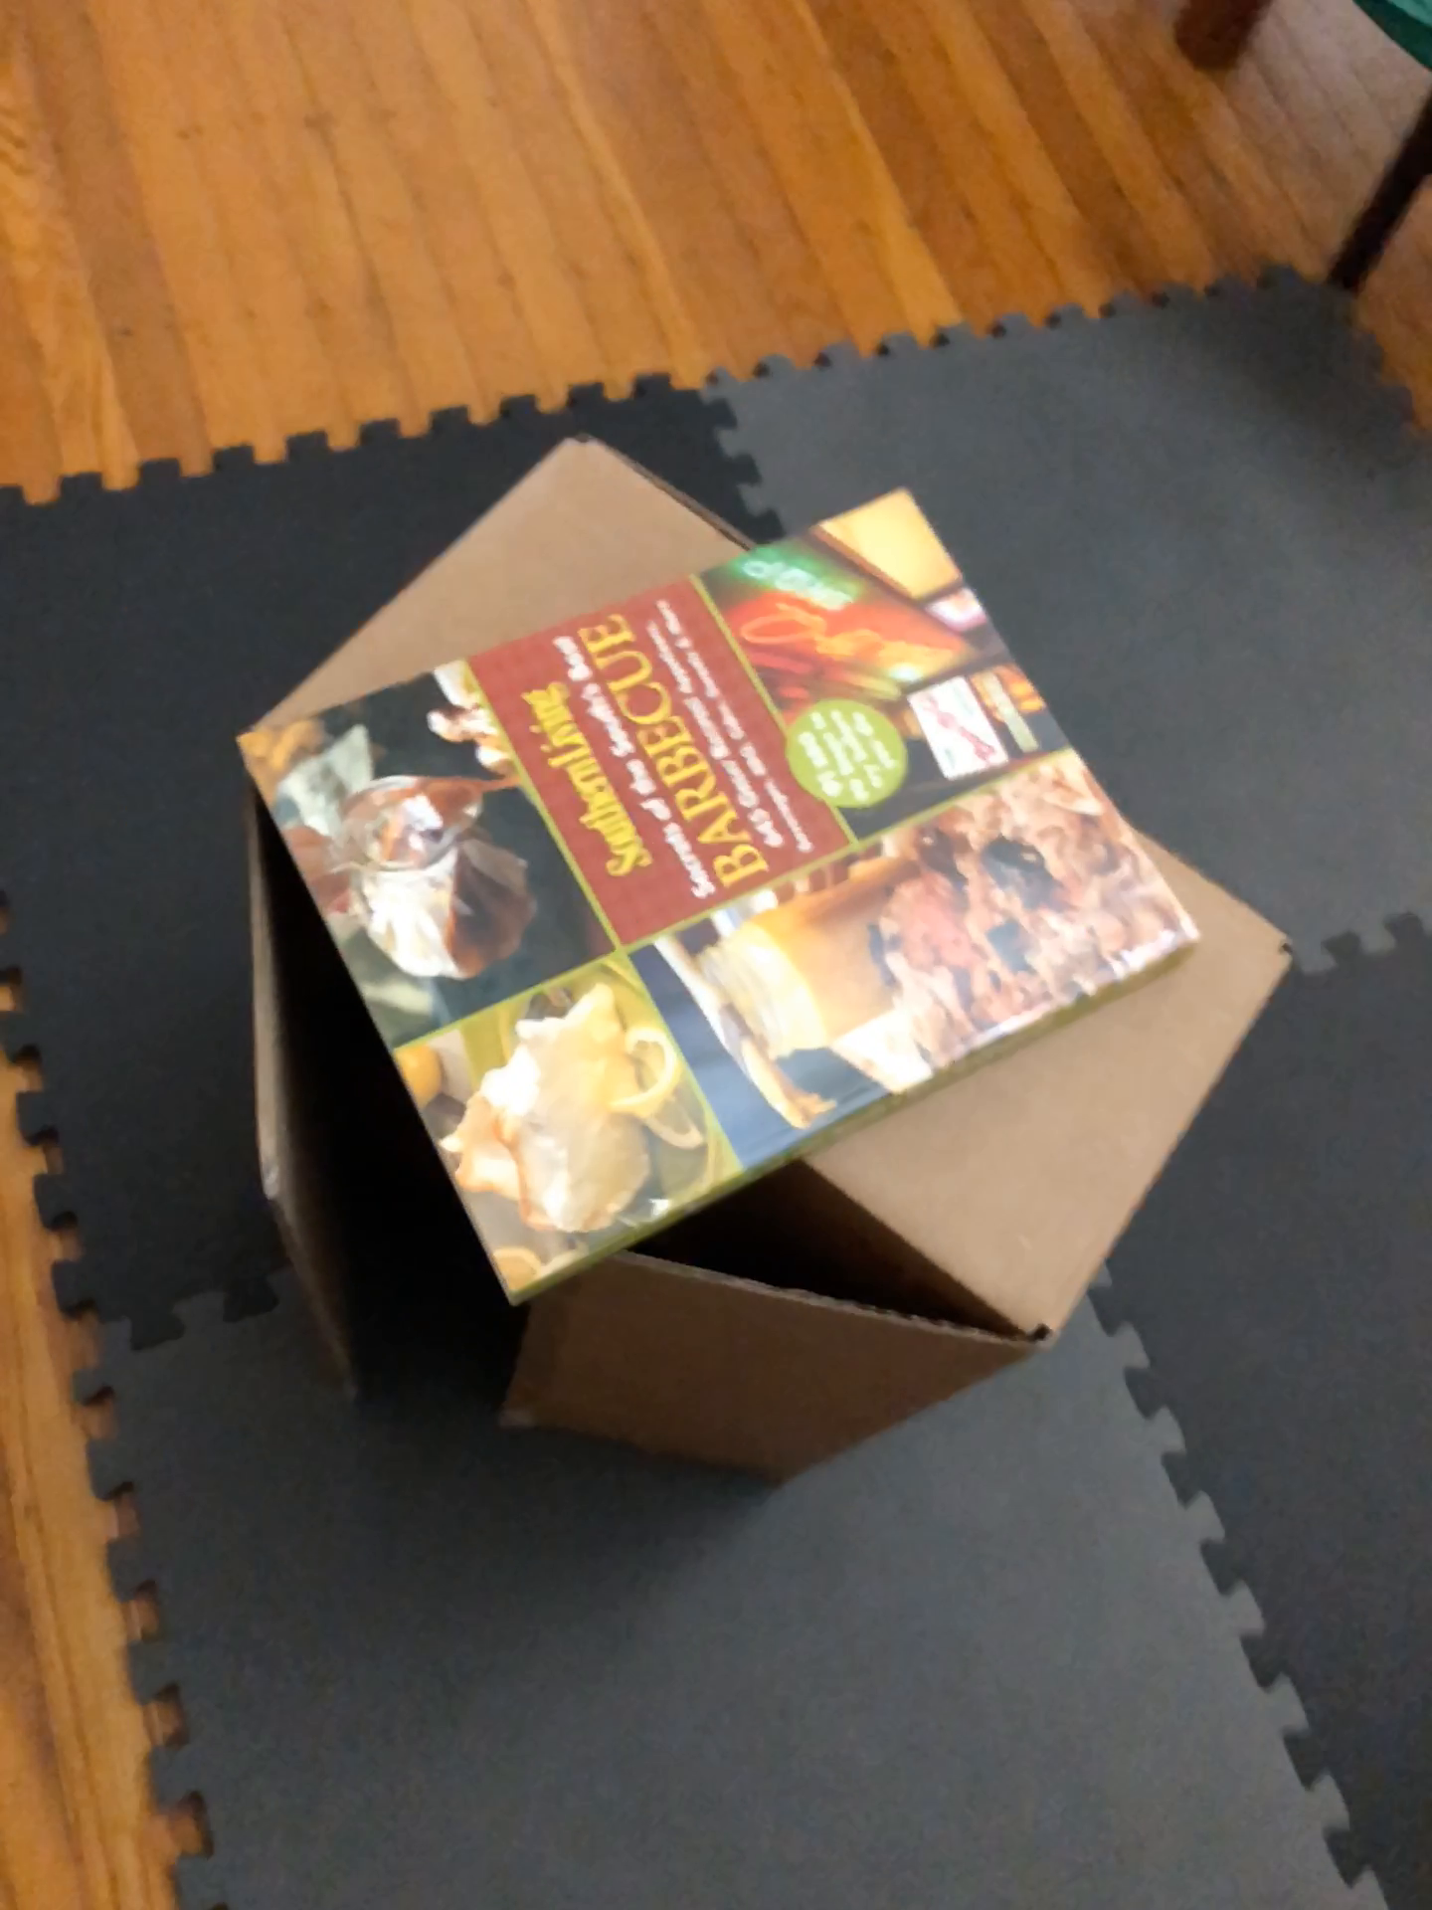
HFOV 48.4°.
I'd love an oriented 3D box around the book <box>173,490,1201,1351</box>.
[{"bbox_3d":[-0.006,-0.031,0.561,0.290,0.020,0.220,-25,73,-19],"label":"book"}]
